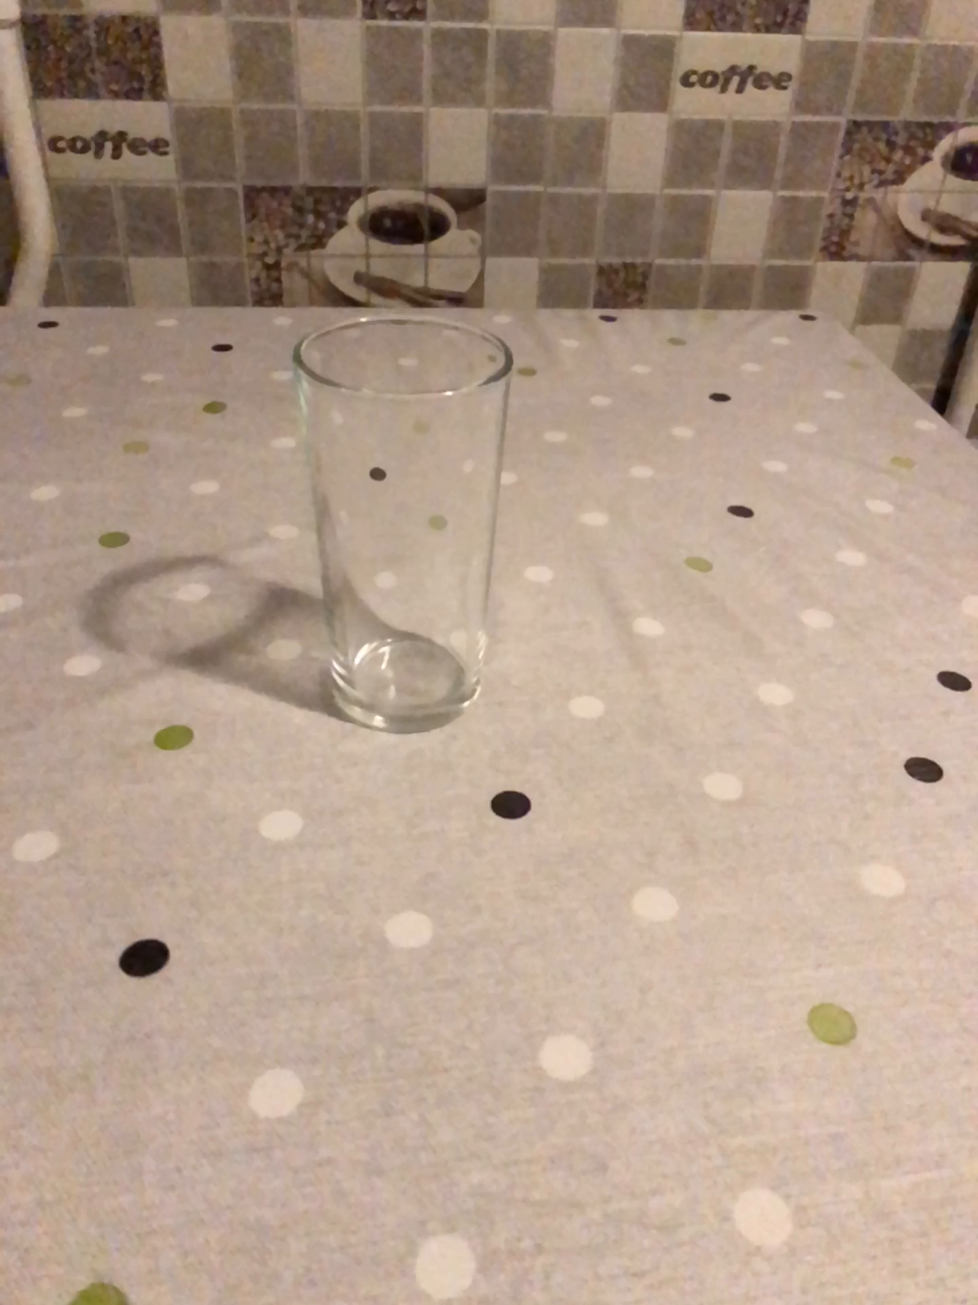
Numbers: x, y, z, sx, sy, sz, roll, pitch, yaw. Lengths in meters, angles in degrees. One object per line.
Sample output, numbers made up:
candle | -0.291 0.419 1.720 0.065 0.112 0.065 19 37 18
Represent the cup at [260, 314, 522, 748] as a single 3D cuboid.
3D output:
cup | -0.032 -0.038 0.345 0.069 0.117 0.068 2 36 -1
